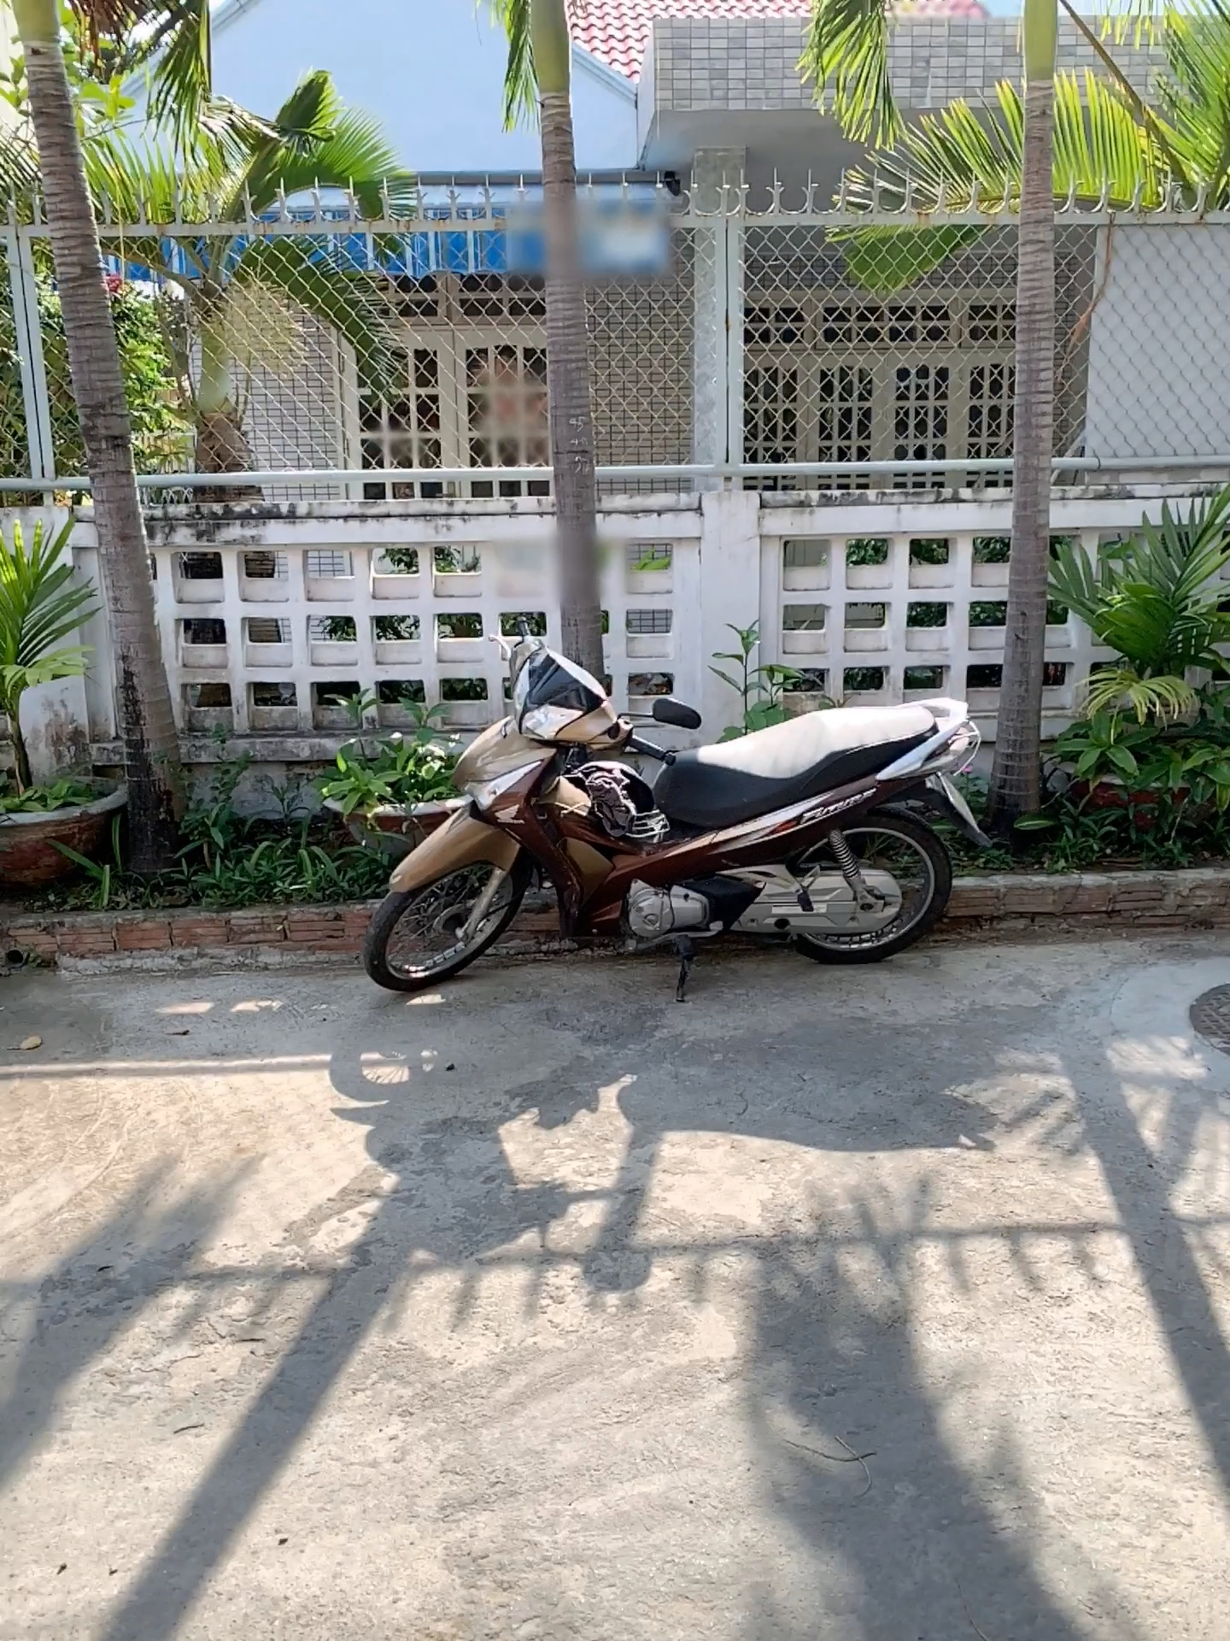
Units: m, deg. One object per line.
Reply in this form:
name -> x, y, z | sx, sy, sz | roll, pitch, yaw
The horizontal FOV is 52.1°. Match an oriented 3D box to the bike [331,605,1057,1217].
bike -> 0.248, 0.163, 3.673 | 1.975, 1.444, 0.614 | -5, 13, -15
